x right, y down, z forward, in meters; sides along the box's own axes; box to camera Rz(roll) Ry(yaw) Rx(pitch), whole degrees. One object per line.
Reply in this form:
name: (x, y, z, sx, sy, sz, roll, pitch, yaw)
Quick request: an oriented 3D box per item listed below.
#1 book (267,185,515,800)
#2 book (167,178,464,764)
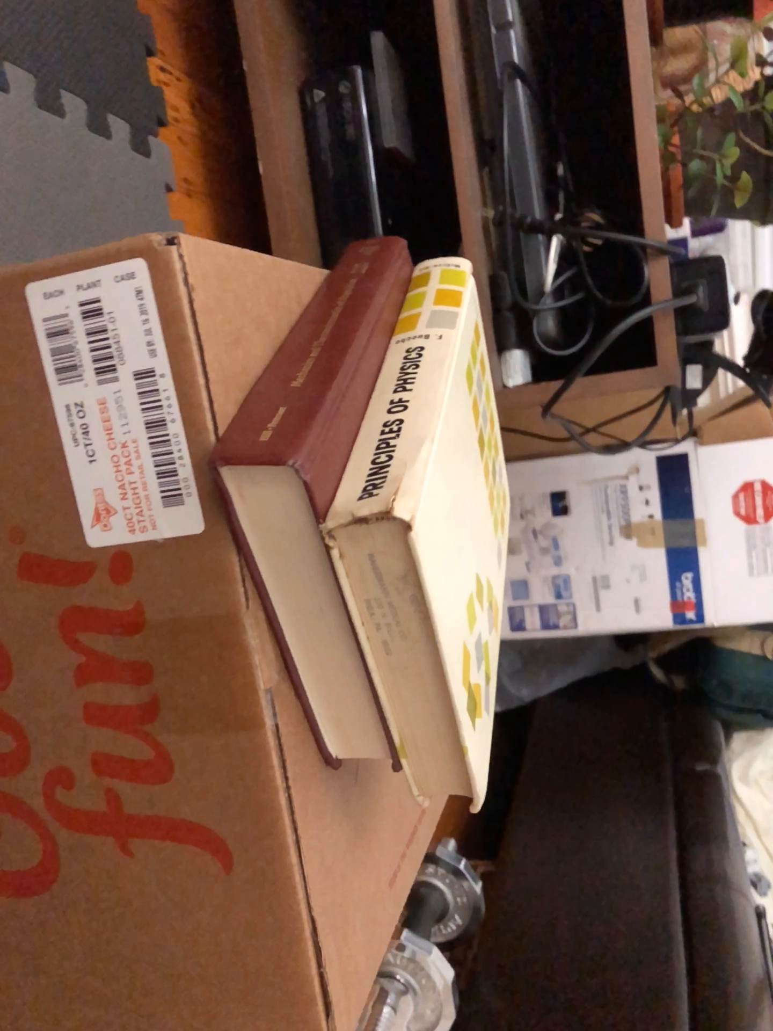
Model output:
book: (0.023, -0.027, 0.410, 0.251, 0.040, 0.180, -77, 154, -52)
book: (-0.010, -0.039, 0.419, 0.251, 0.040, 0.180, -75, 153, -55)
